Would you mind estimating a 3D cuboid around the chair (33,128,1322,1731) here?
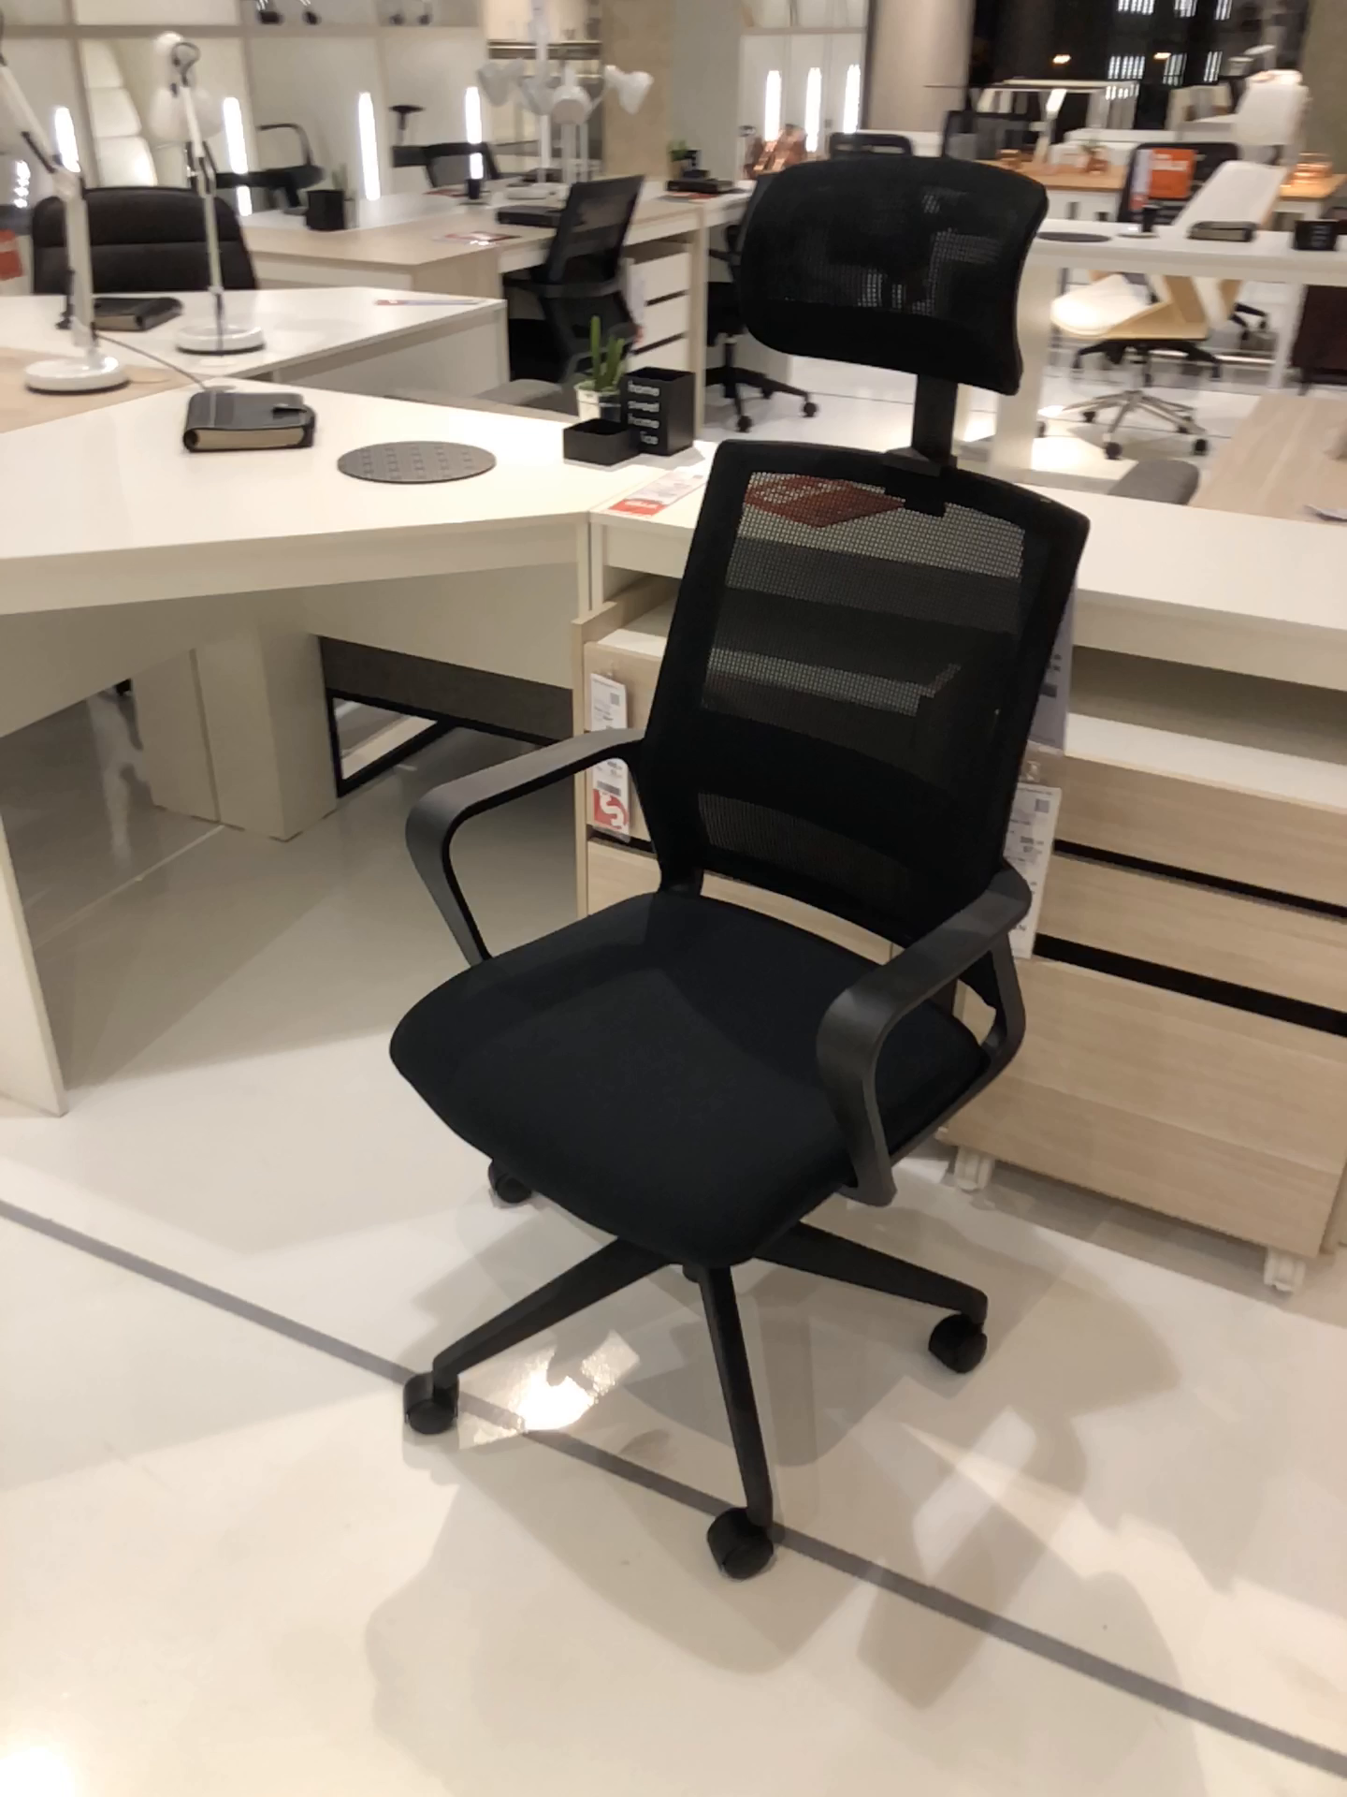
[{"bbox_3d":[0.016,-0.040,1.342,0.662,1.131,0.663,23,37,34],"label":"chair"}]
